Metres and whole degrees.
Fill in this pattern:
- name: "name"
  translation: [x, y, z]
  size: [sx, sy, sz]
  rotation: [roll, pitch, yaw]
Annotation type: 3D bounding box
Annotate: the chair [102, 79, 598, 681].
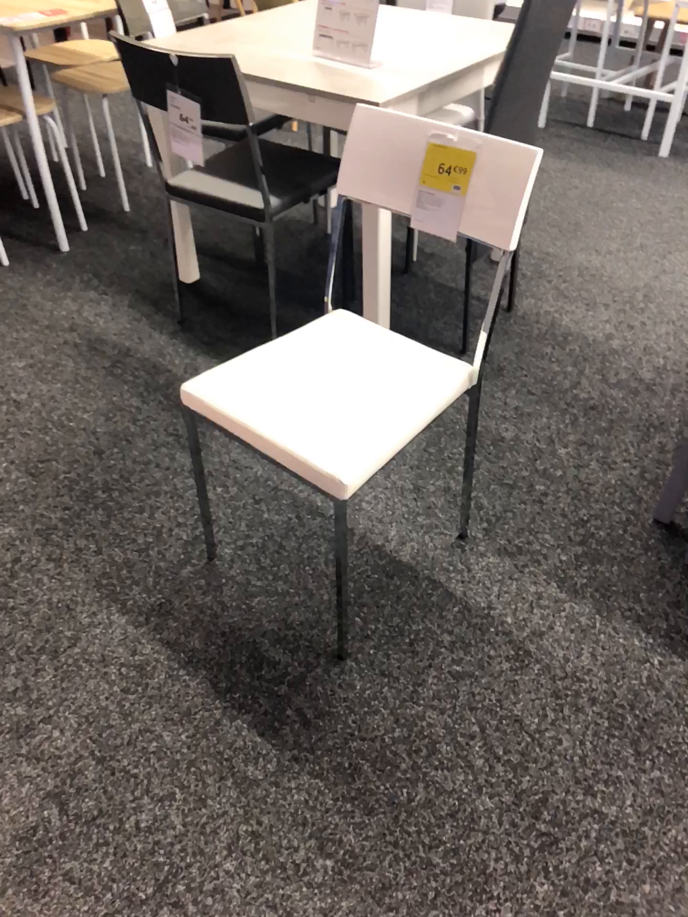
- name: "chair"
  translation: [0.026, -0.150, 1.373]
  size: [0.500, 0.815, 0.543]
  rotation: [28, 48, 30]
